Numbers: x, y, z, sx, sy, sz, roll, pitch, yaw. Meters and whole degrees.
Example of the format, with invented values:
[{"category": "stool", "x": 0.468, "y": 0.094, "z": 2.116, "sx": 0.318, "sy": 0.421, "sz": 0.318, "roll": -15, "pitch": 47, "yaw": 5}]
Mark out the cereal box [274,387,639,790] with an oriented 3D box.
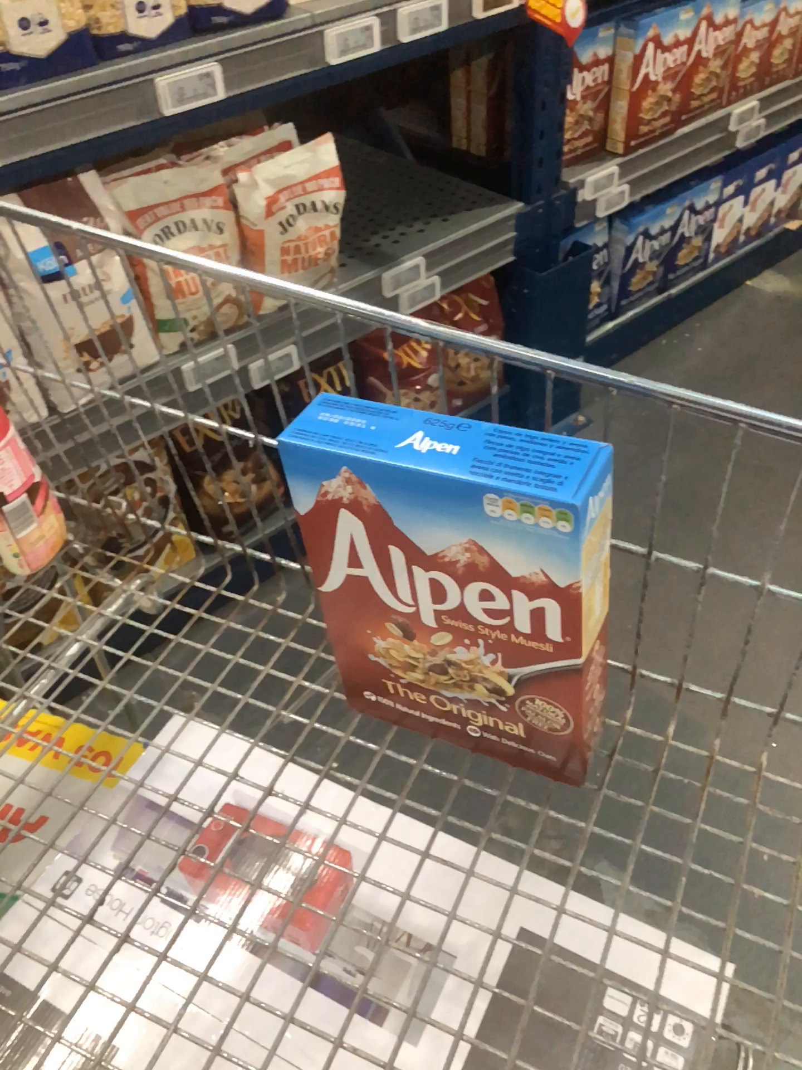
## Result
[{"category": "cereal box", "x": 0.036, "y": 0.036, "z": 0.531, "sx": 0.180, "sy": 0.219, "sz": 0.060, "roll": 14, "pitch": 46, "yaw": 23}]
